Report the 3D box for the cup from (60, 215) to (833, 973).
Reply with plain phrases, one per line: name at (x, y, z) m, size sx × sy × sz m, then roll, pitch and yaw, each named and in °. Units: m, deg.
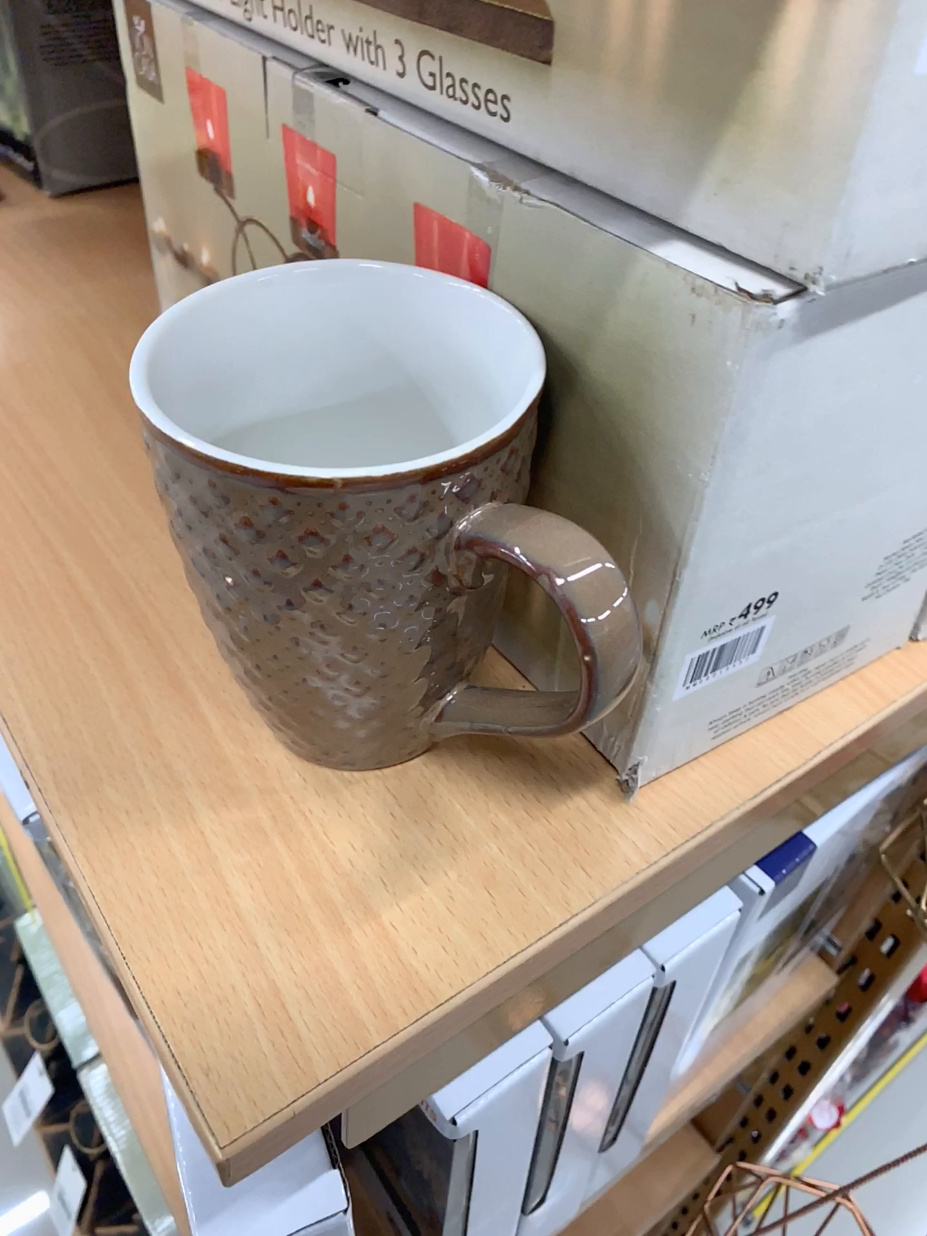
cup at (-0.012, -0.016, 0.219) m, size 0.090 × 0.090 × 0.130 m, roll -26°, pitch 52°, yaw -31°
